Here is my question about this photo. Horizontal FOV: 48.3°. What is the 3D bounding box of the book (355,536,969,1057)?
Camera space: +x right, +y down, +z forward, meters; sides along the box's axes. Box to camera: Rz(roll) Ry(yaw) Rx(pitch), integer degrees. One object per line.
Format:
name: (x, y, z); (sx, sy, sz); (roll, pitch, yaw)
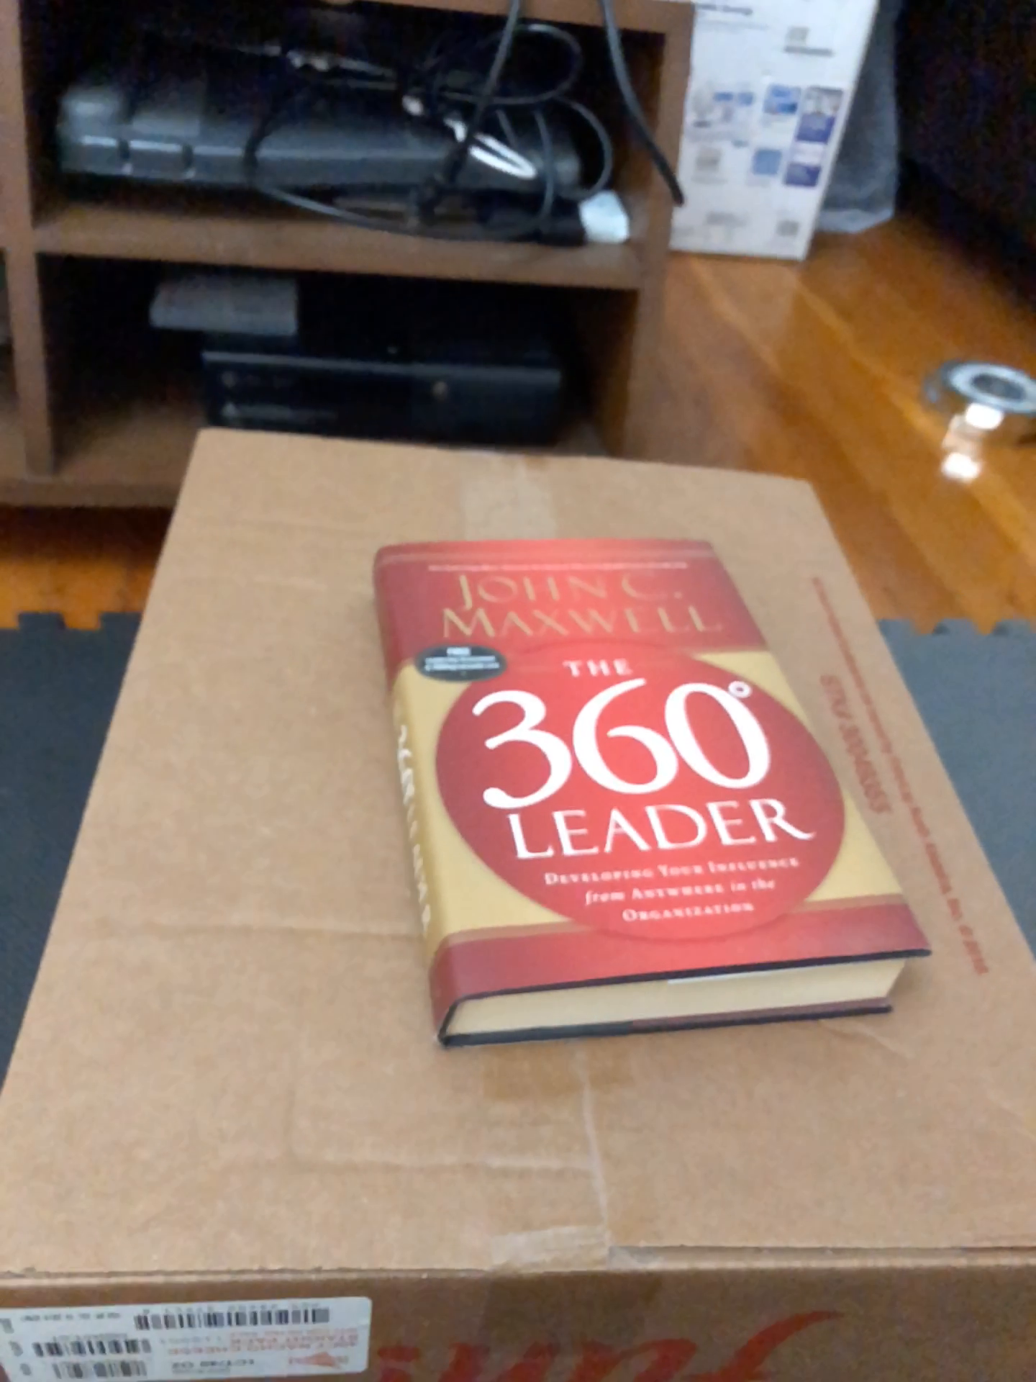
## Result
book: (0.035, 0.020, 0.451); (0.180, 0.030, 0.241); (-1, 41, -12)
